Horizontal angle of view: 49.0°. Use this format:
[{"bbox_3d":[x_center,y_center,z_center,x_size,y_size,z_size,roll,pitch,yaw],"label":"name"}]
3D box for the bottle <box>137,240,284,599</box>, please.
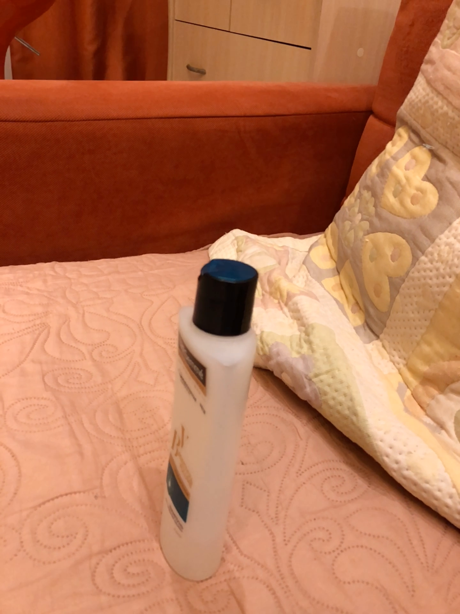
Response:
[{"bbox_3d":[-0.021,0.069,0.292,0.040,0.199,0.070,-7,31,-25],"label":"bottle"}]
